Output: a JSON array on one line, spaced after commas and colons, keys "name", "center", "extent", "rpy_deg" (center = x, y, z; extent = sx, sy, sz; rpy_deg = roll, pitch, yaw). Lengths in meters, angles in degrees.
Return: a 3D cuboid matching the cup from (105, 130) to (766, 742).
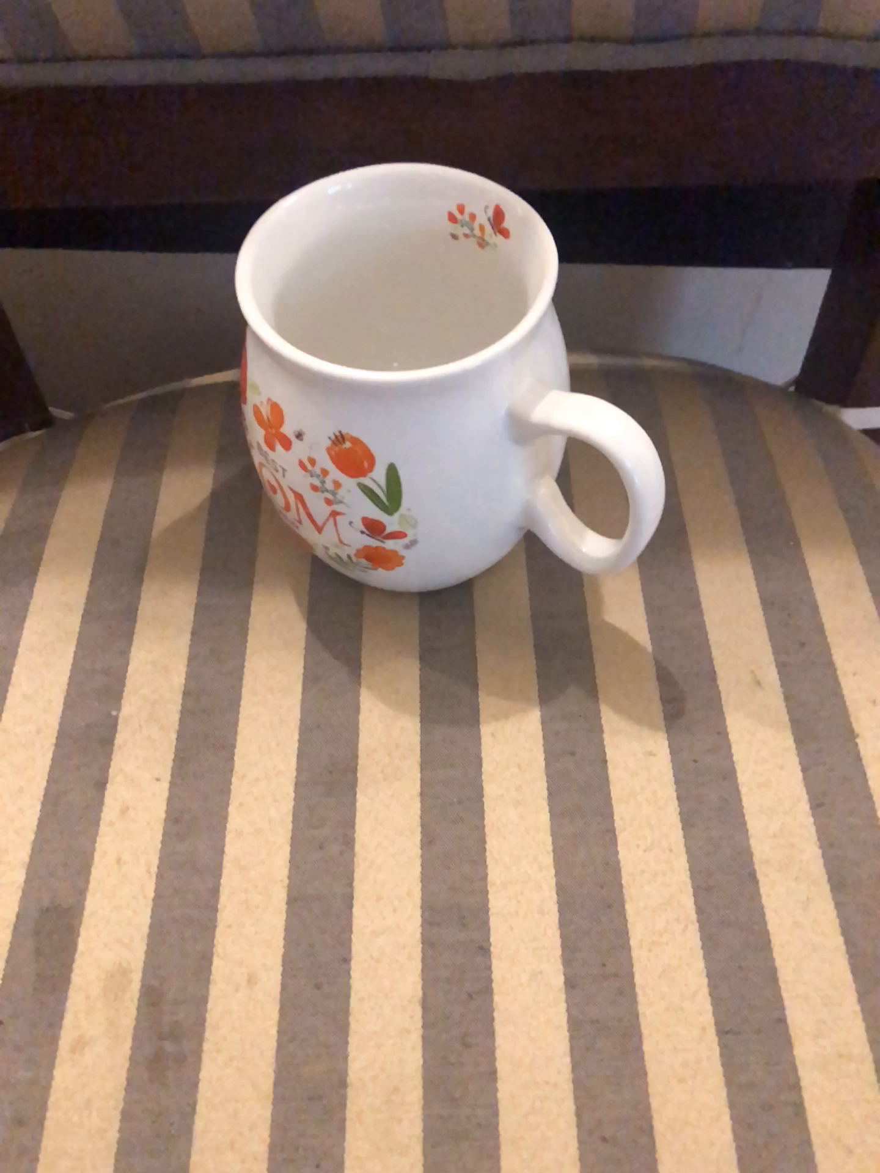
[{"name": "cup", "center": [-0.001, -0.051, 0.298], "extent": [0.140, 0.090, 0.110], "rpy_deg": [32, 61, 23]}]
